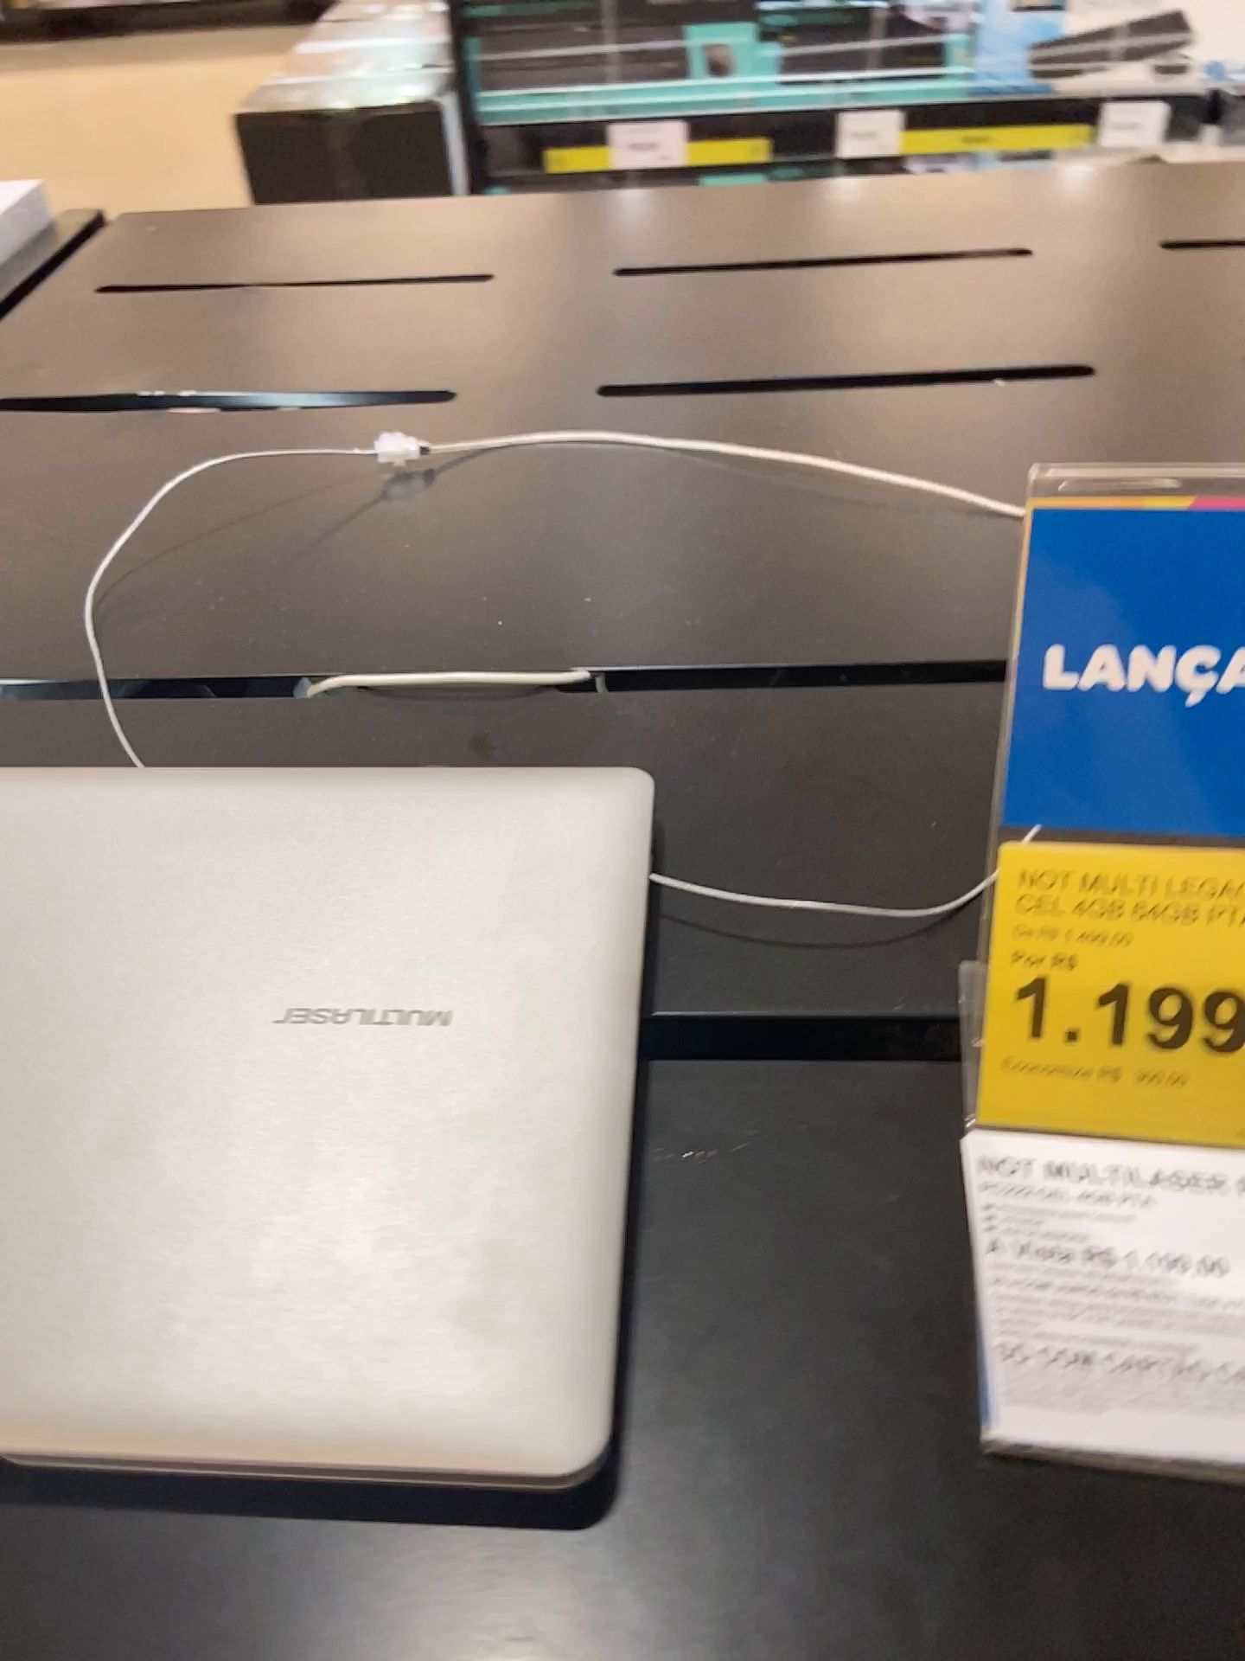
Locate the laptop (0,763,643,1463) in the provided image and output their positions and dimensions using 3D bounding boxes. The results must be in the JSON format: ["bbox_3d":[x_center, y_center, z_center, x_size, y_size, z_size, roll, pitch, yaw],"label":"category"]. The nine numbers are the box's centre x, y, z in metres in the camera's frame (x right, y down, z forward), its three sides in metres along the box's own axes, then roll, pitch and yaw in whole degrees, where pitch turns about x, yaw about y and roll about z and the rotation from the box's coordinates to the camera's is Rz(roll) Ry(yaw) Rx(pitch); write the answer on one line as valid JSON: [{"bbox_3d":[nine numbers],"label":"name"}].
[{"bbox_3d":[-0.157,0.050,0.333,0.314,0.003,0.206,0,42,5],"label":"laptop"}]
